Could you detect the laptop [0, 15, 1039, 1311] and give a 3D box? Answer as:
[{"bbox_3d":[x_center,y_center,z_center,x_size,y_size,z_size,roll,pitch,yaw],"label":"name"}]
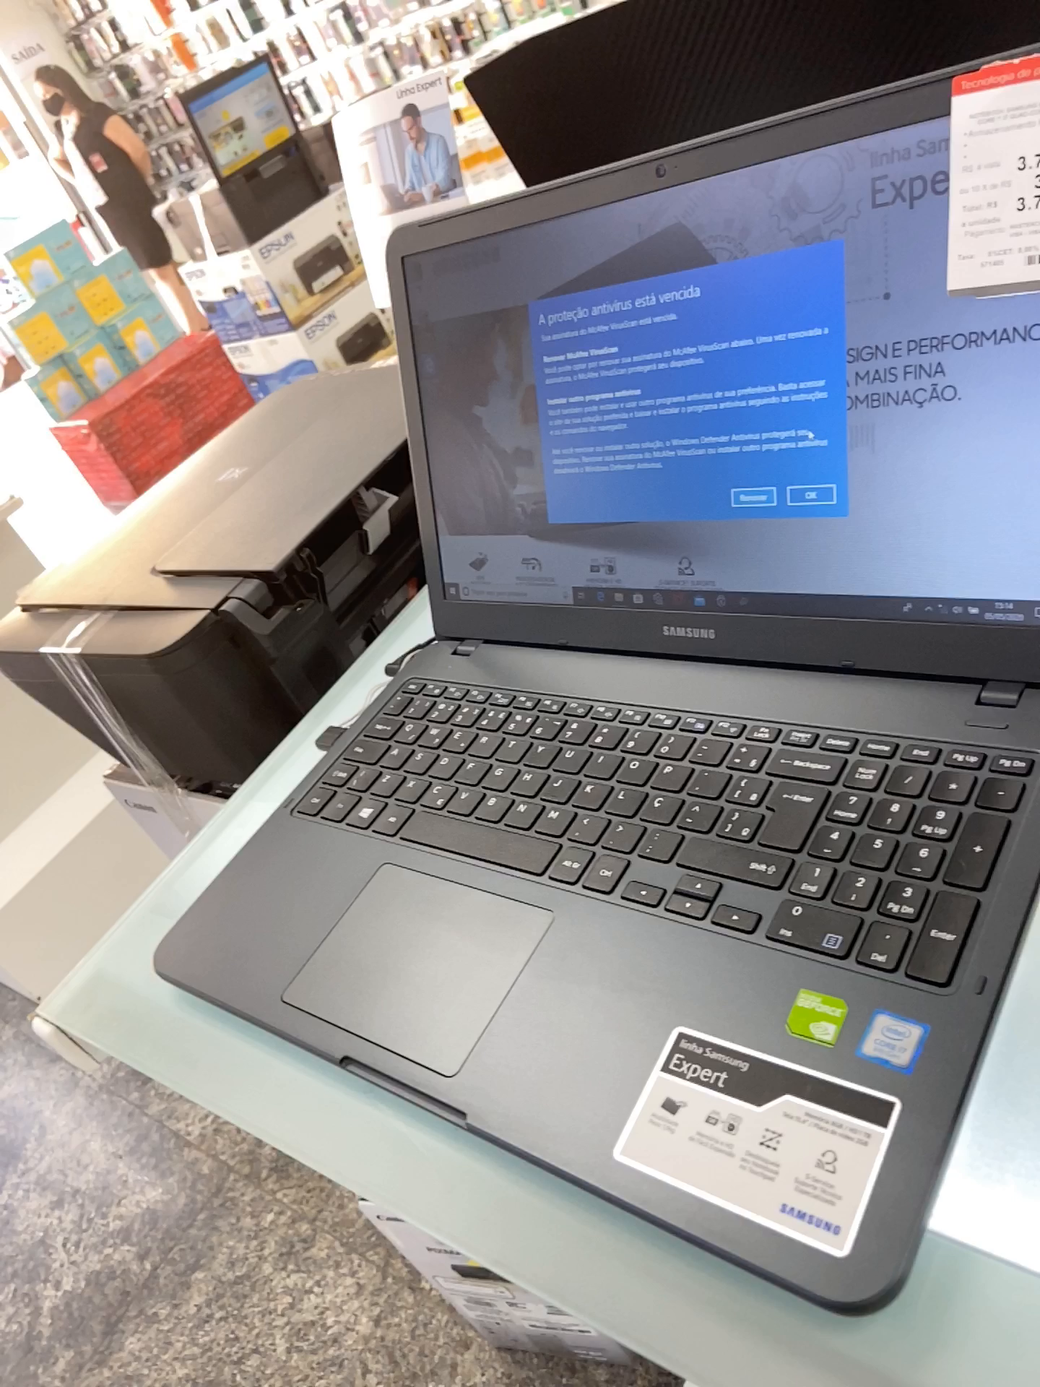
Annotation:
[{"bbox_3d":[0.009,-0.051,0.452,0.371,0.207,0.372,6,46,40],"label":"laptop"}]
